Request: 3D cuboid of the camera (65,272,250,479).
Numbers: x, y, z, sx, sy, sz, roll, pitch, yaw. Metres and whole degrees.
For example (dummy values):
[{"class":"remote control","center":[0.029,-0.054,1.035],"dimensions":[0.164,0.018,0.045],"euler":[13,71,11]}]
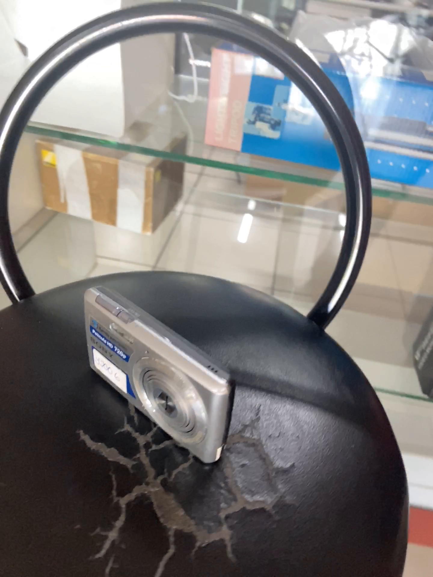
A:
[{"class":"camera","center":[-0.035,0.043,0.241],"dimensions":[0.100,0.060,0.030],"euler":[31,43,28]}]
